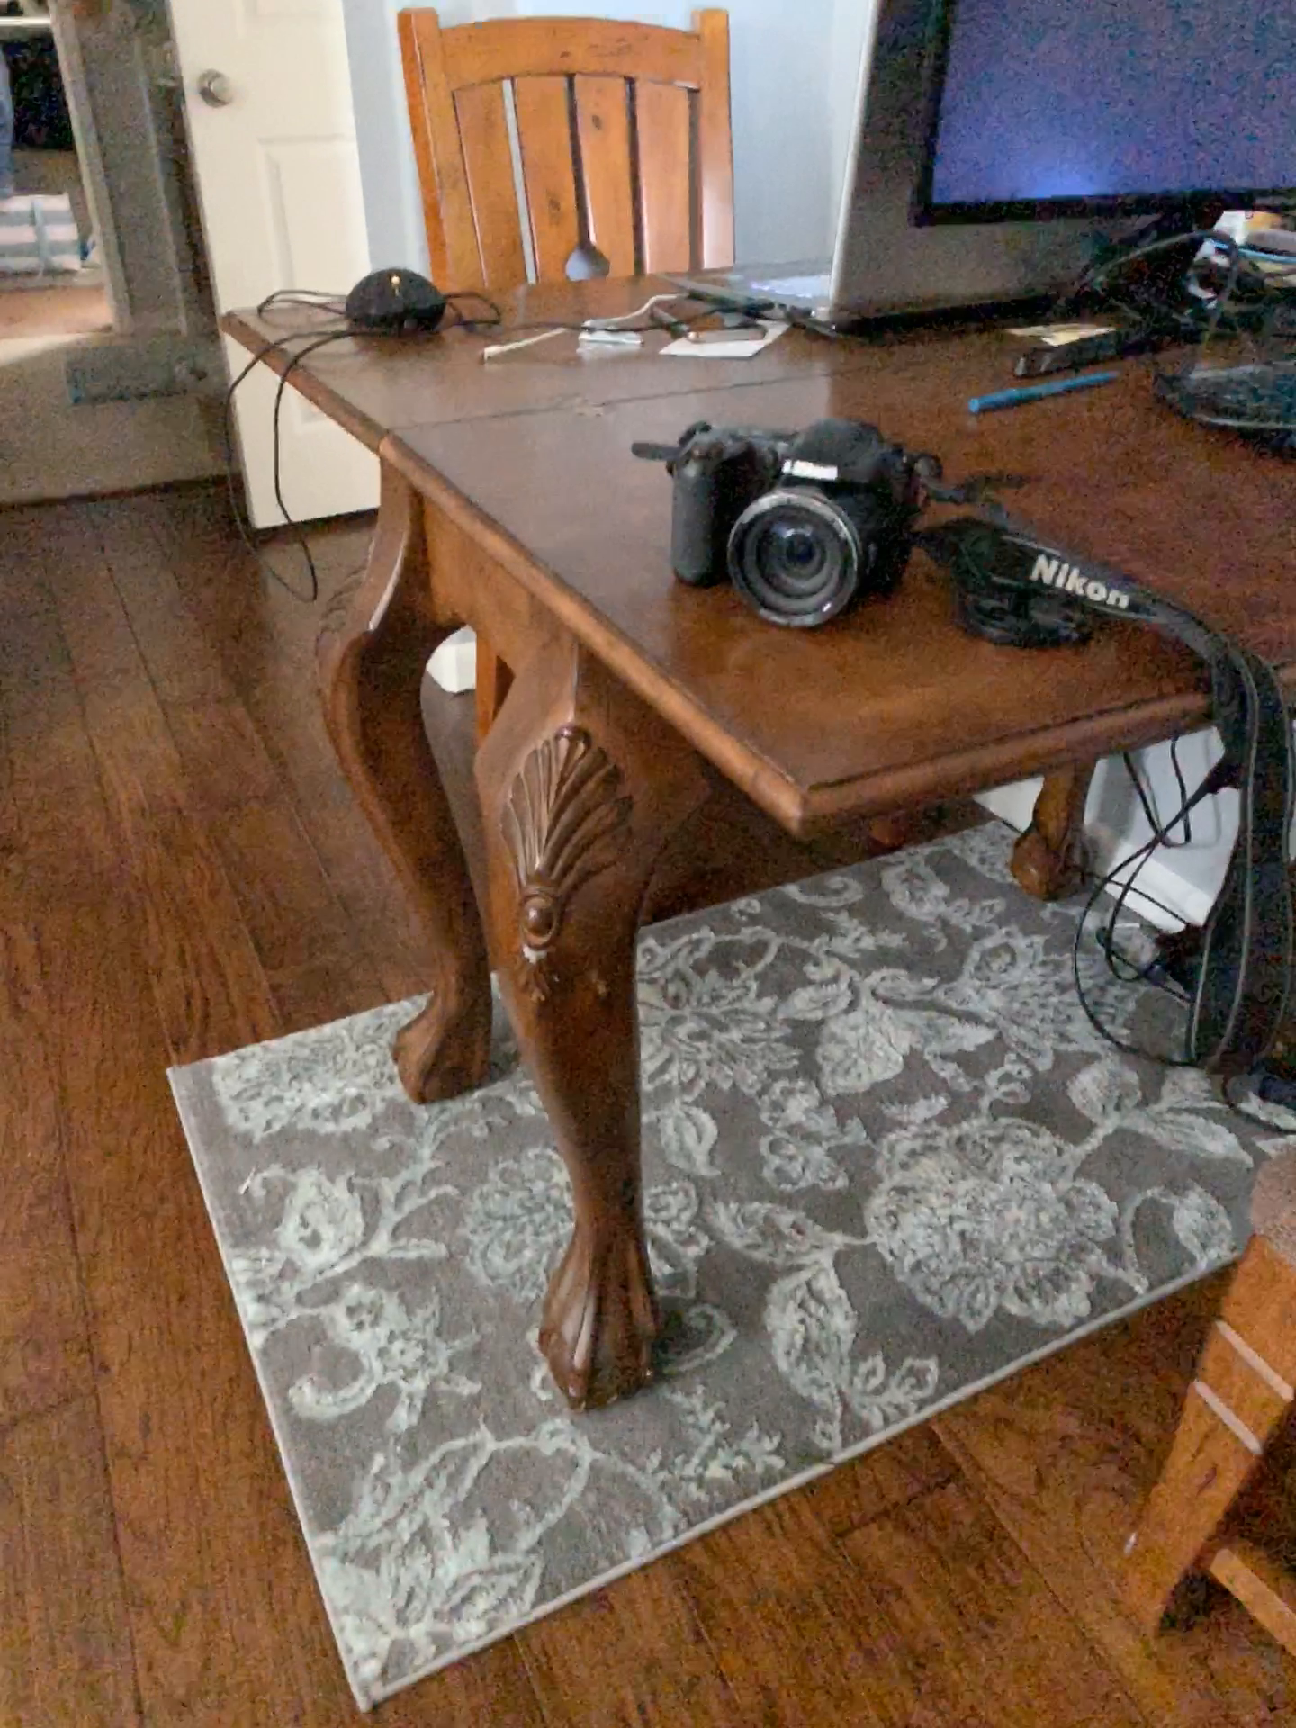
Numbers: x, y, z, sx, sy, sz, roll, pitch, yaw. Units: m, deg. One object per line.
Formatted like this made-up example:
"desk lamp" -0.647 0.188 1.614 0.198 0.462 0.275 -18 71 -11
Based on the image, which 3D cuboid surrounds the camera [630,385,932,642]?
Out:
"camera" 0.061 -0.166 0.615 0.110 0.079 0.091 15 35 22
